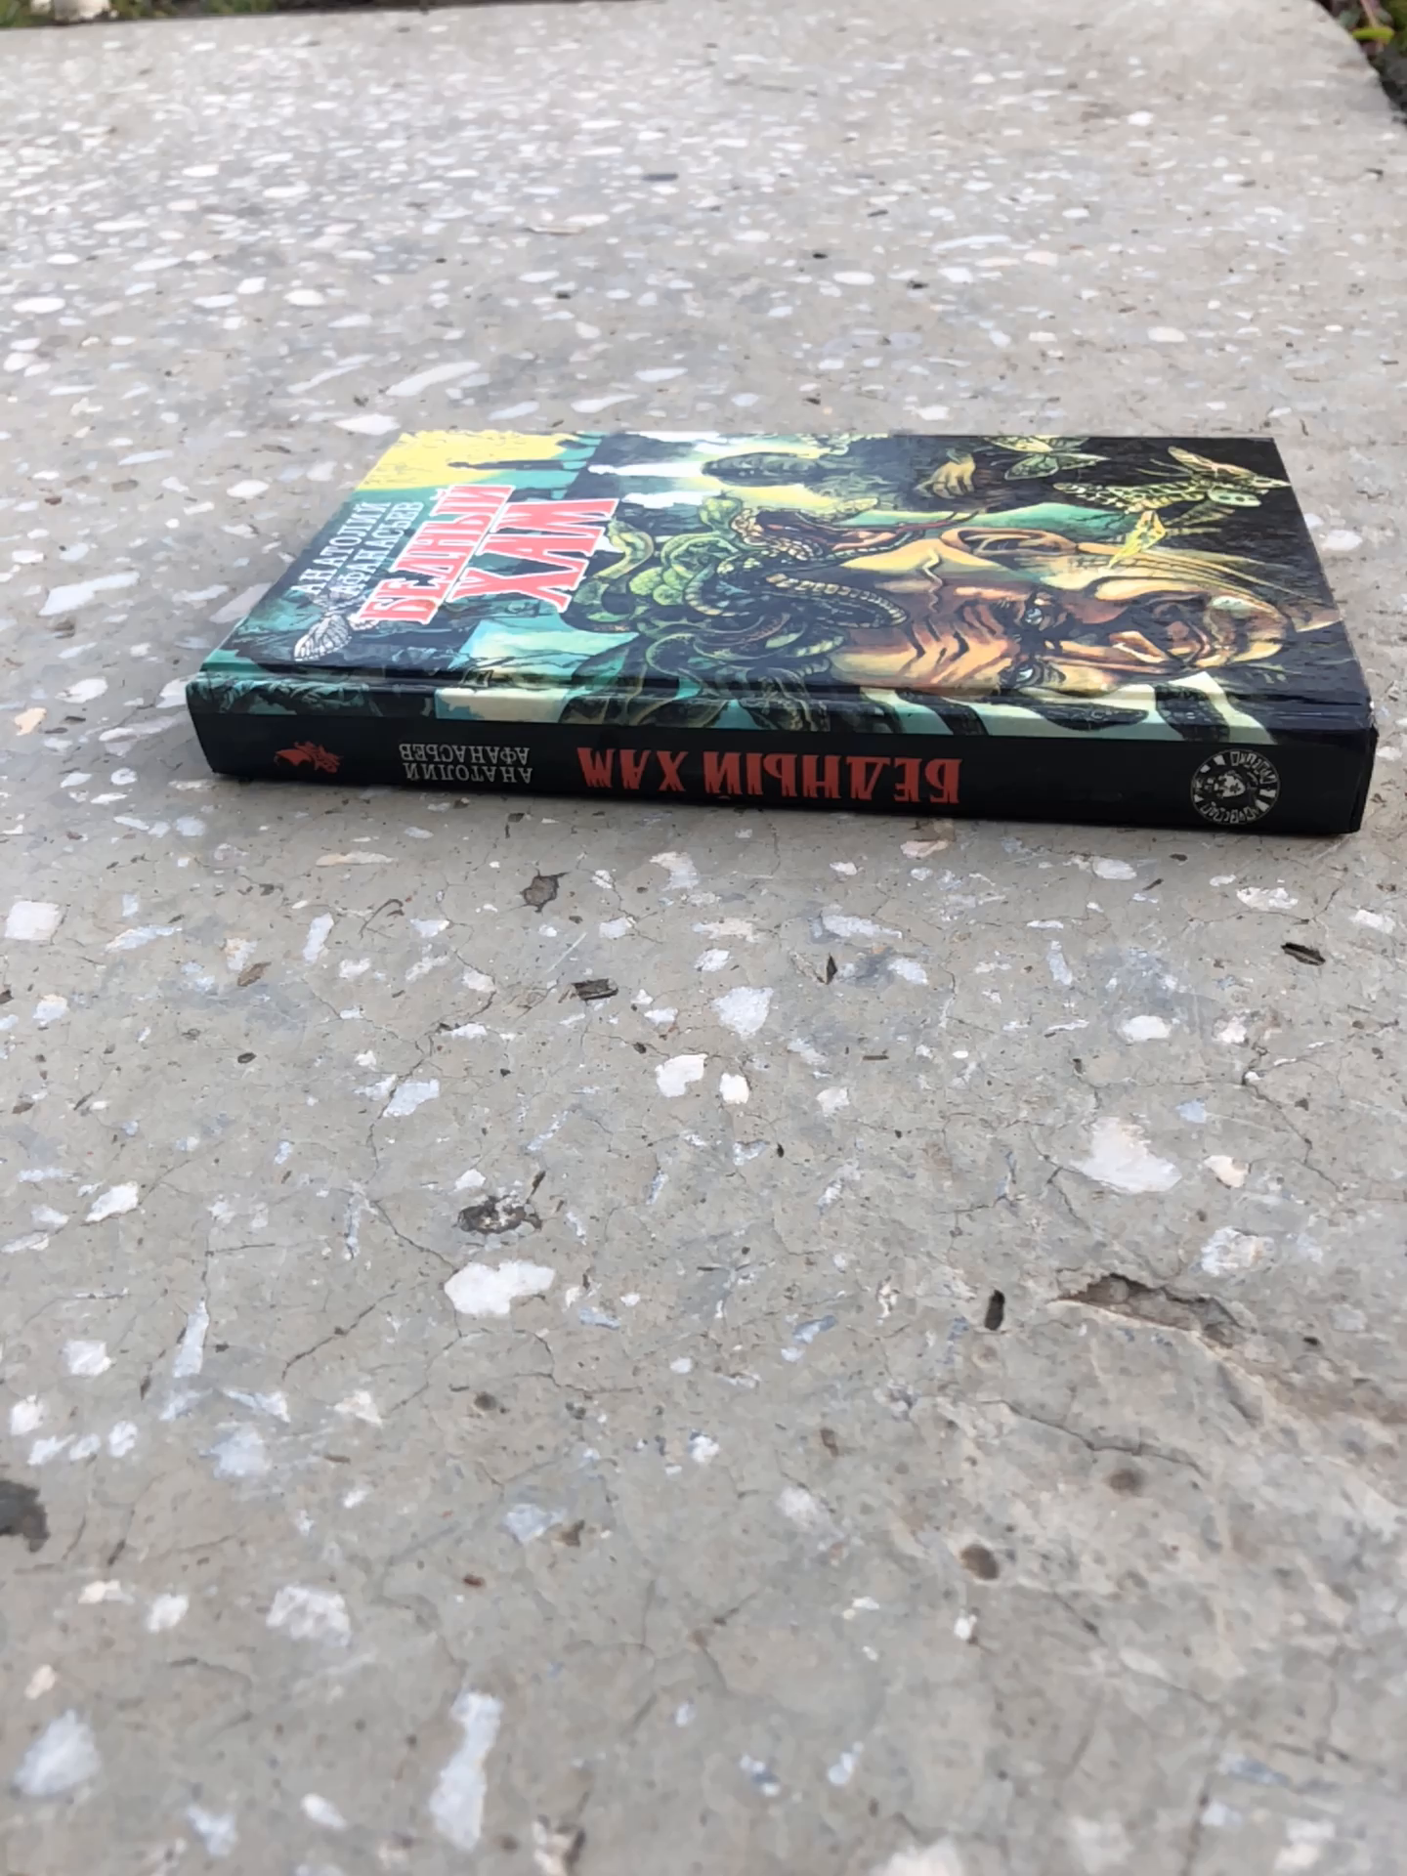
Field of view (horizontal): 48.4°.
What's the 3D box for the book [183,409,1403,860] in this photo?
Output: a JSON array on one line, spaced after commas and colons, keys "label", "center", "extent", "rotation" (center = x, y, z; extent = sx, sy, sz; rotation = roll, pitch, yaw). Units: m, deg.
[{"label": "book", "center": [0.021, -0.071, 0.319], "extent": [0.201, 0.020, 0.143], "rotation": [4, 38, 8]}]
